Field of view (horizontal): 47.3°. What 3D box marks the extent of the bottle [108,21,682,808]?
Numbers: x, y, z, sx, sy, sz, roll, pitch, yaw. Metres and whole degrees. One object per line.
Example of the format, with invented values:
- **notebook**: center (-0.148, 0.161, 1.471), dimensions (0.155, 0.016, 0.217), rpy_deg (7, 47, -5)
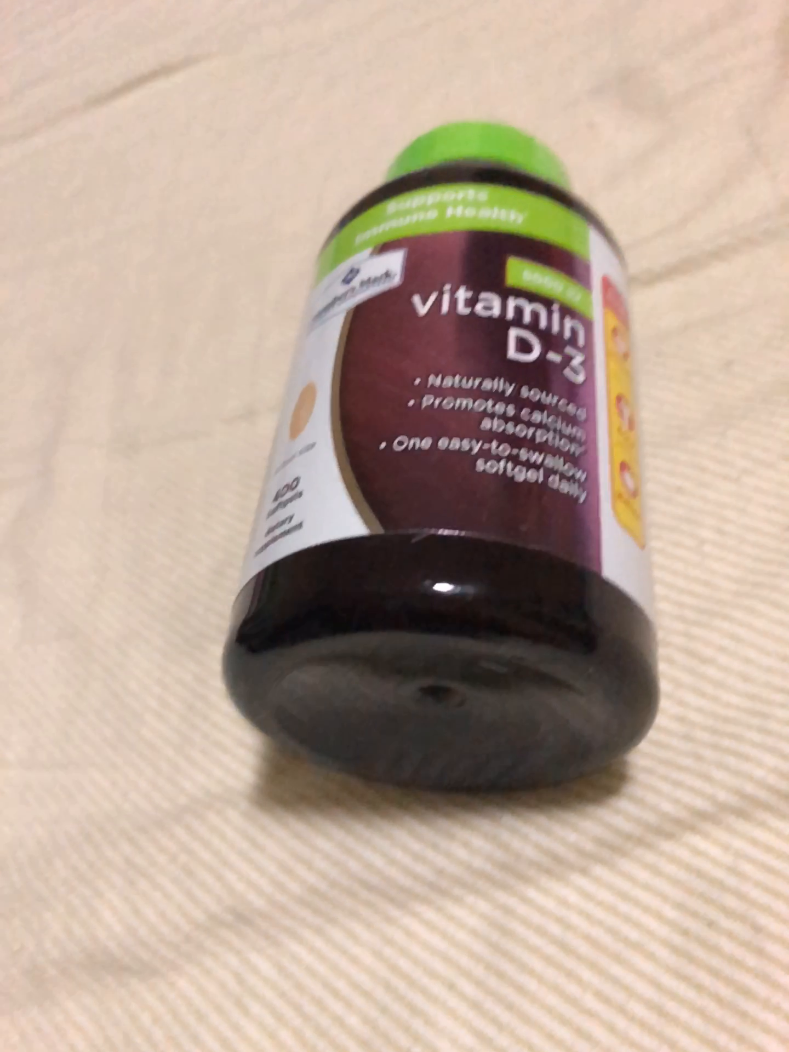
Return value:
- **bottle**: center (0.008, -0.019, 0.147), dimensions (0.060, 0.060, 0.110), rpy_deg (-3, 55, 12)
